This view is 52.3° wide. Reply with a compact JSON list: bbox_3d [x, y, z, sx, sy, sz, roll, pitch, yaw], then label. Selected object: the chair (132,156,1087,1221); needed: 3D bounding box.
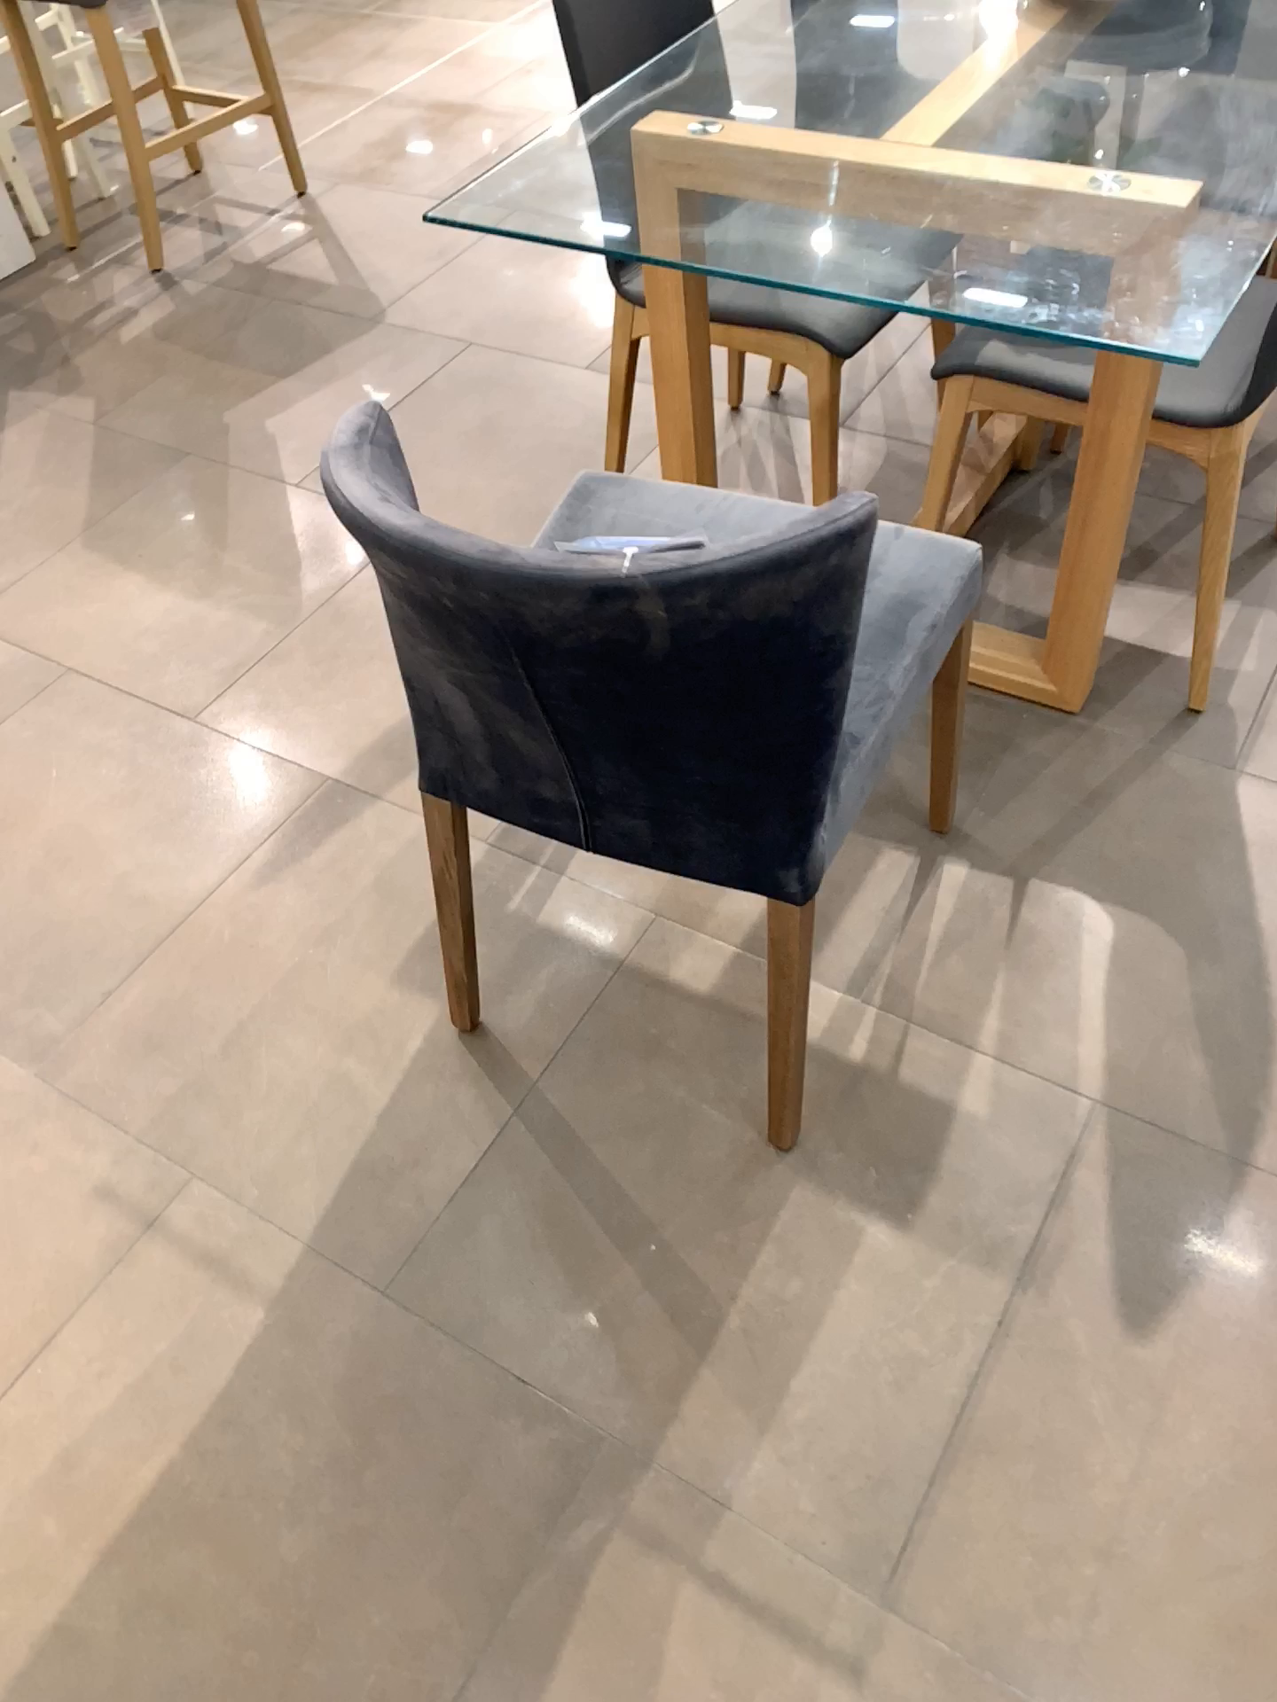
[{"bbox_3d":[0.036,-0.168,1.390,0.579,0.806,0.617,19,53,23],"label":"chair"}]
